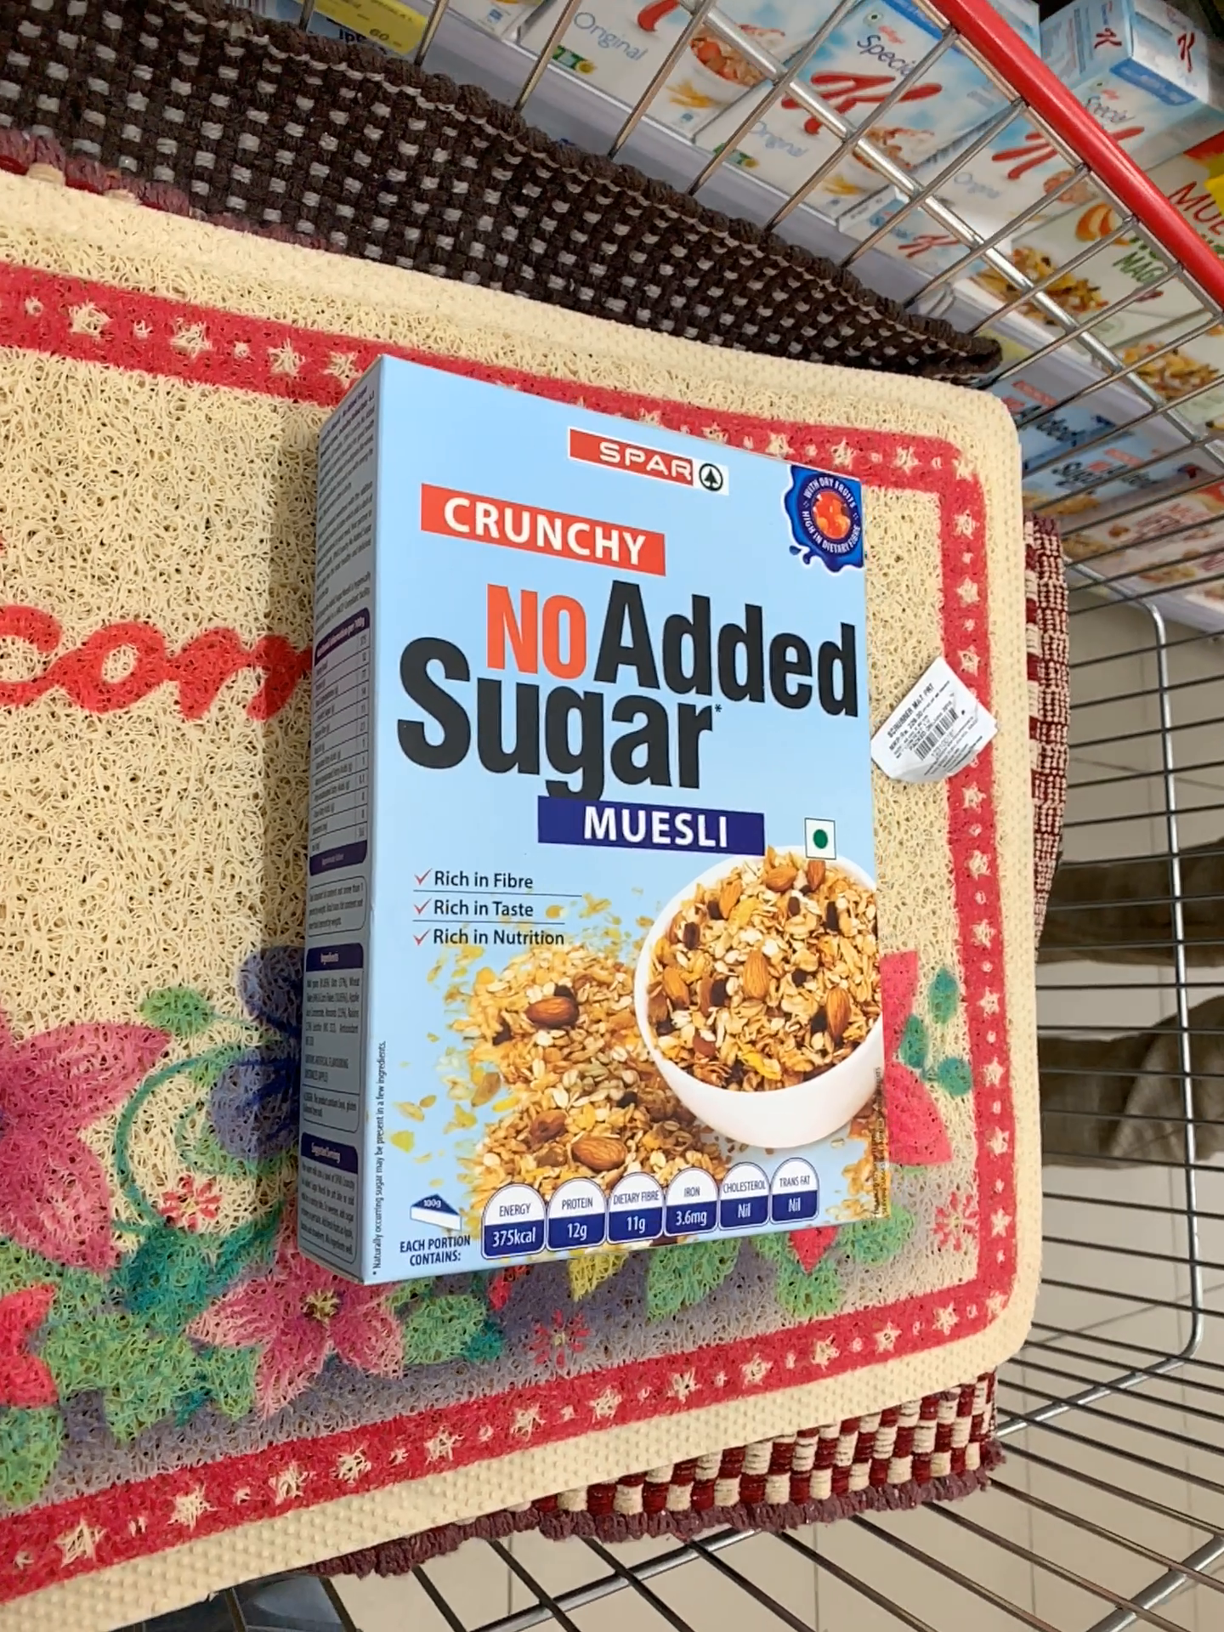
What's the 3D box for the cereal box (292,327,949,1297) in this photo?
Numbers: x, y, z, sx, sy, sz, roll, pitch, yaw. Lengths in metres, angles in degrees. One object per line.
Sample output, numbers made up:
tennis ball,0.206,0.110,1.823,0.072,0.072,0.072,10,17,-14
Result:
cereal box,0.007,0.001,0.362,0.181,0.050,0.230,4,81,-30
